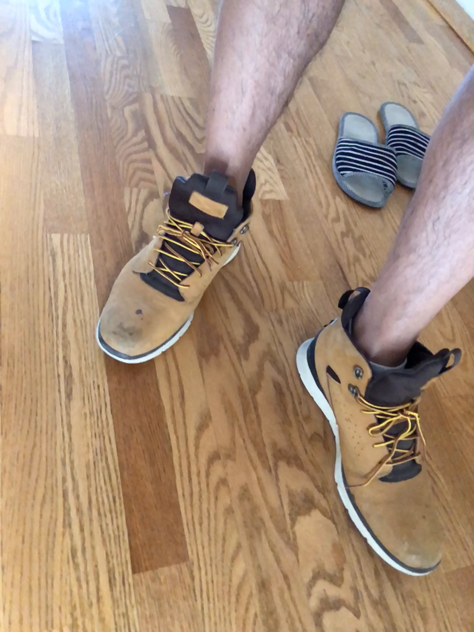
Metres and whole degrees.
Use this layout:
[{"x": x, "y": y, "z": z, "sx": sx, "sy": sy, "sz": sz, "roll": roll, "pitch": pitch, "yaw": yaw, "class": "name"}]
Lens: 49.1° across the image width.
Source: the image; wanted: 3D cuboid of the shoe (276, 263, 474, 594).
[{"x": 0.165, "y": 0.104, "z": 0.542, "sx": 0.120, "sy": 0.139, "sz": 0.291, "roll": -5, "pitch": 58, "yaw": -24, "class": "shoe"}]

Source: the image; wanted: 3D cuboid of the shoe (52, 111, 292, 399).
[{"x": -0.067, "y": -0.084, "z": 0.613, "sx": 0.120, "sy": 0.149, "sz": 0.312, "roll": 30, "pitch": 51, "yaw": 2, "class": "shoe"}]
